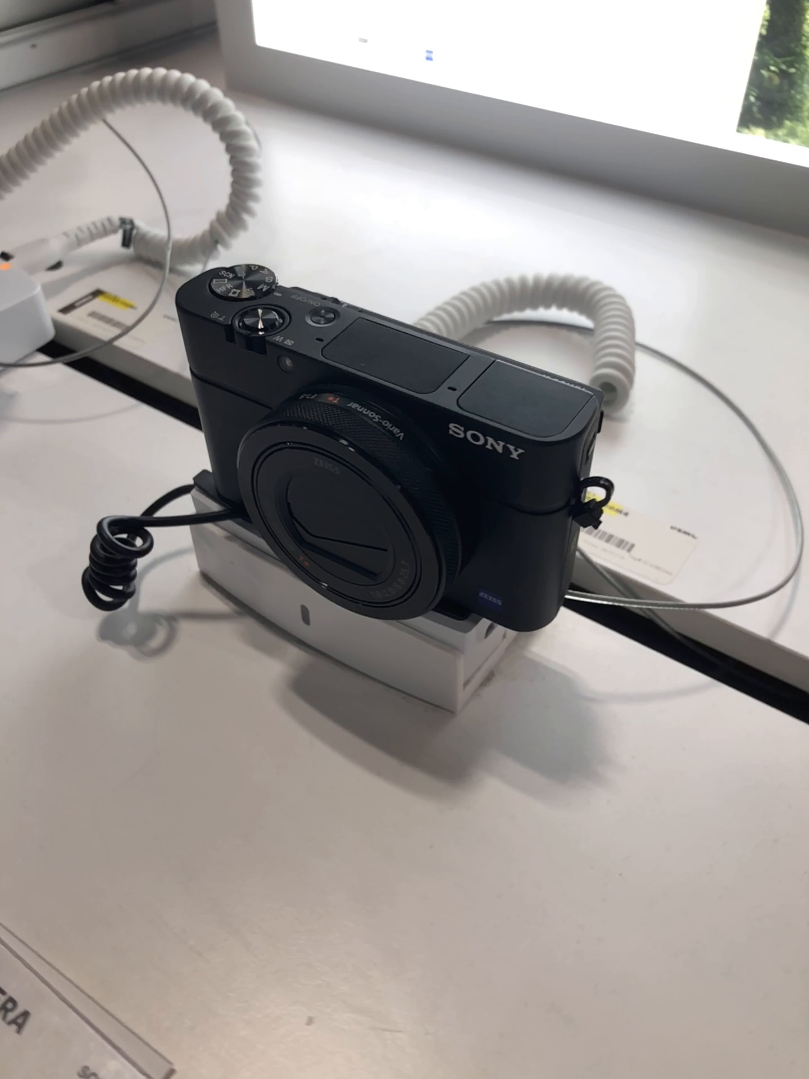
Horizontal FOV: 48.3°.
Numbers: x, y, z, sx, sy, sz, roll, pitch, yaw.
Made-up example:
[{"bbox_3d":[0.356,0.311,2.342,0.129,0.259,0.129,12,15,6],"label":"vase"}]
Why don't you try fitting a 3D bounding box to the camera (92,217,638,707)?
[{"bbox_3d":[-0.011,-0.021,0.210,0.110,0.070,0.040,25,48,24],"label":"camera"}]
